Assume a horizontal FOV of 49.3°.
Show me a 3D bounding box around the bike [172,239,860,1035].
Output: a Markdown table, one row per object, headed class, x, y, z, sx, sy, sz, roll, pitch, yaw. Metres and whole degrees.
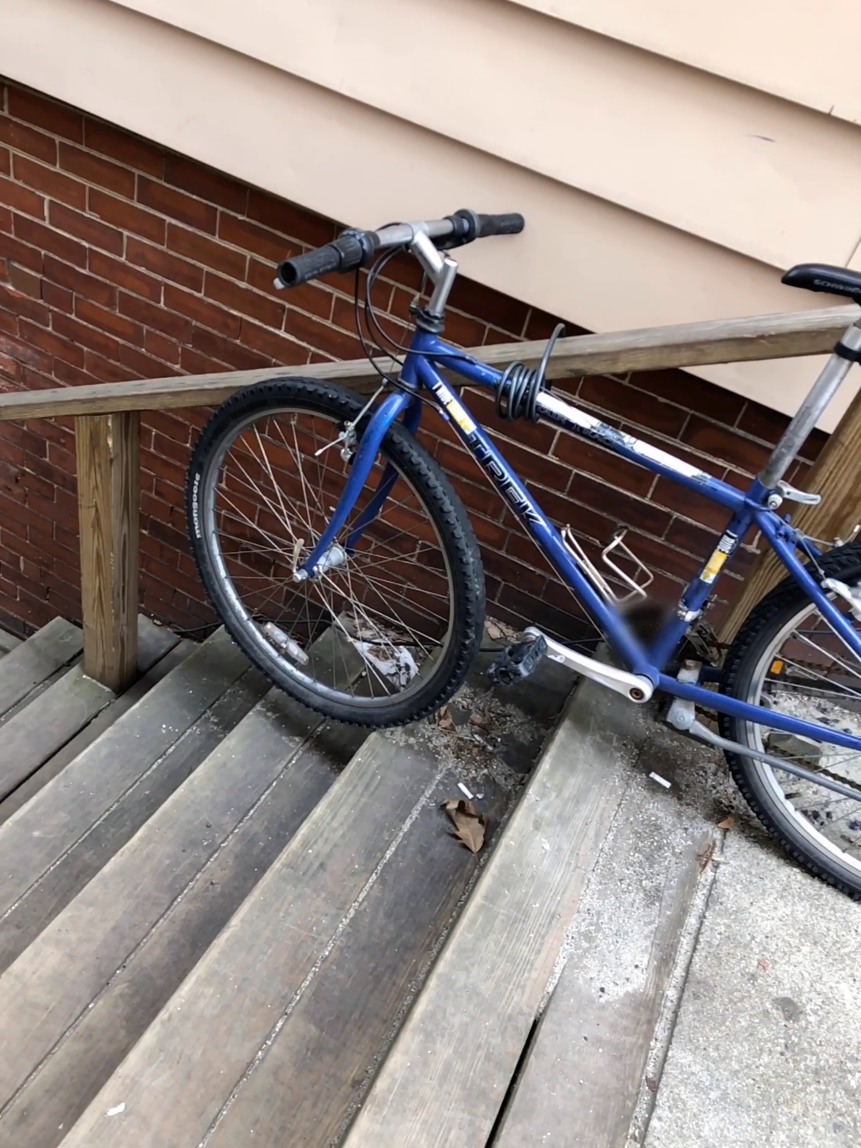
| class | x | y | z | sx | sy | sz | roll | pitch | yaw |
| --- | --- | --- | --- | --- | --- | --- | --- | --- | --- |
| bike | 0.327 | -0.026 | 1.527 | 1.521 | 0.619 | 0.535 | 20 | 37 | 19 |
